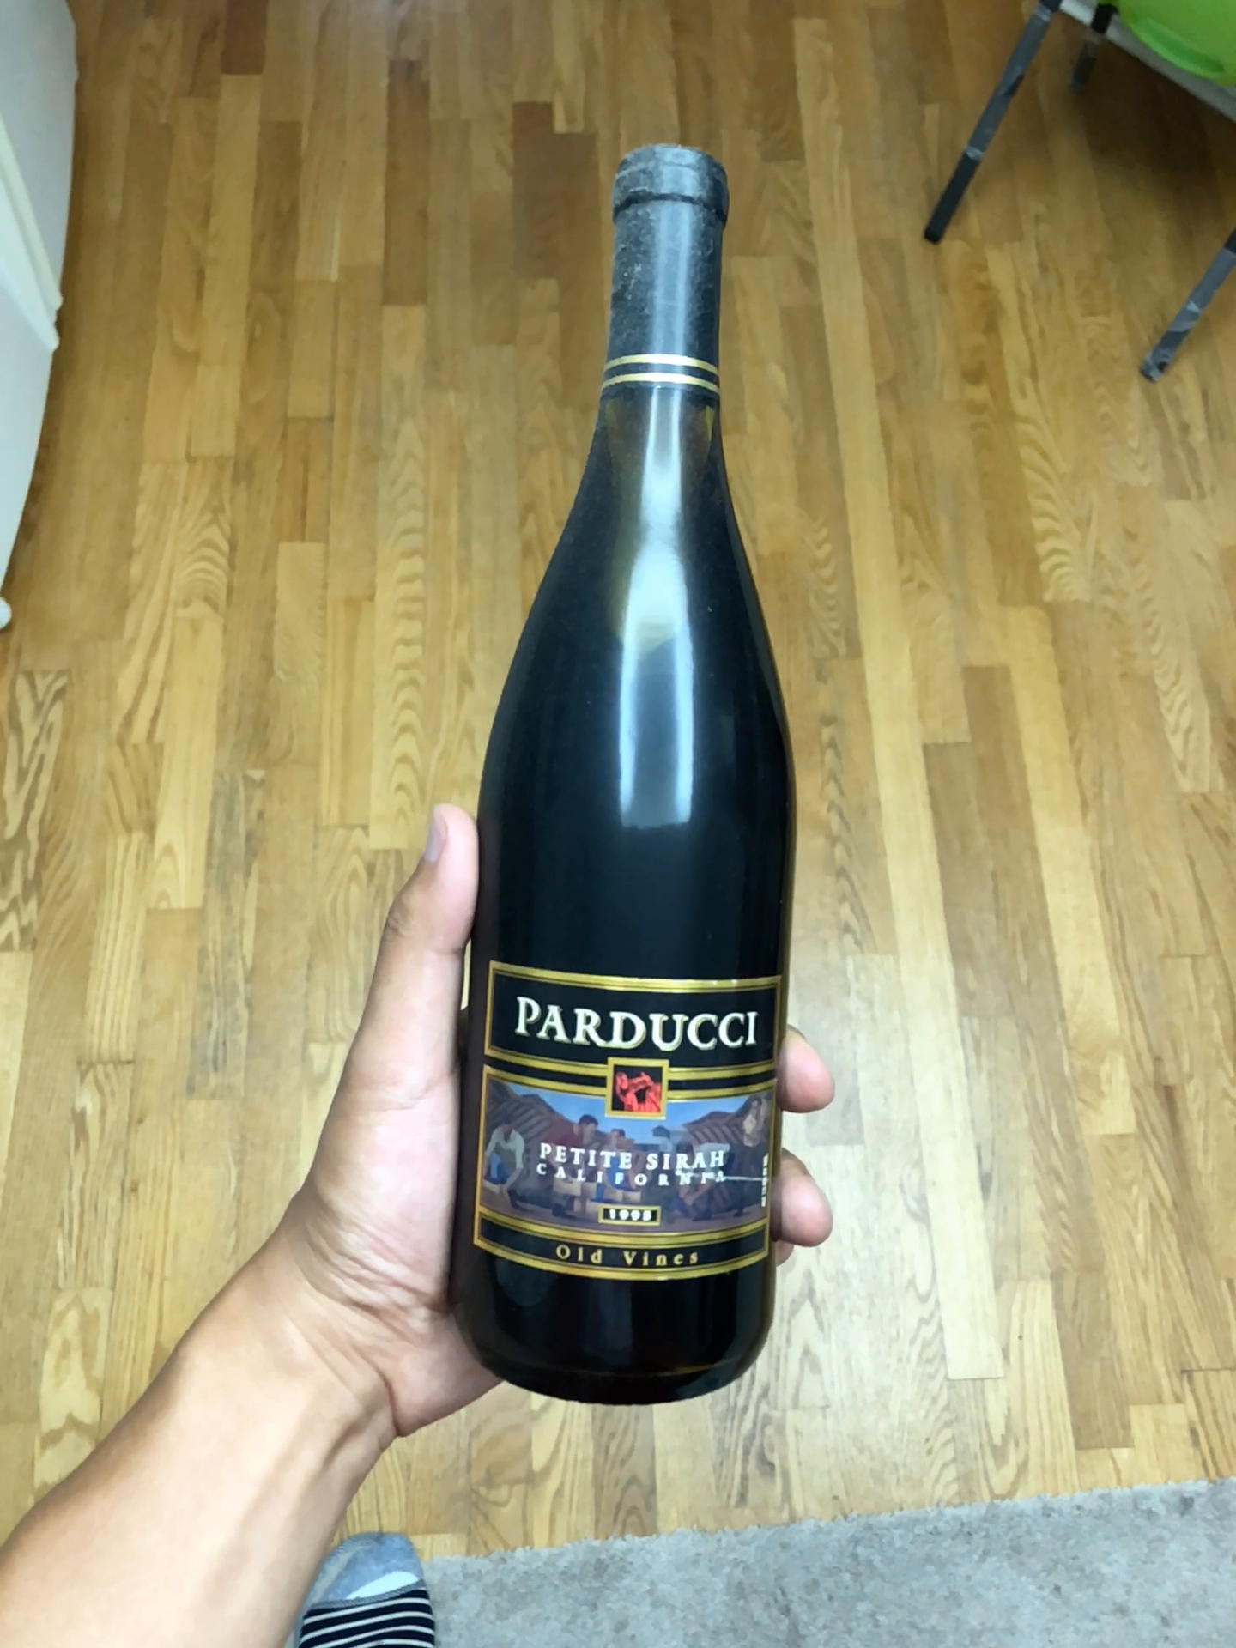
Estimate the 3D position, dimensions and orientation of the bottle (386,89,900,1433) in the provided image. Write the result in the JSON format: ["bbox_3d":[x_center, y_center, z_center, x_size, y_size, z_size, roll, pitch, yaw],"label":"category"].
[{"bbox_3d":[0.002,-0.009,0.324,0.090,0.070,0.280,4,95,-3],"label":"bottle"}]
